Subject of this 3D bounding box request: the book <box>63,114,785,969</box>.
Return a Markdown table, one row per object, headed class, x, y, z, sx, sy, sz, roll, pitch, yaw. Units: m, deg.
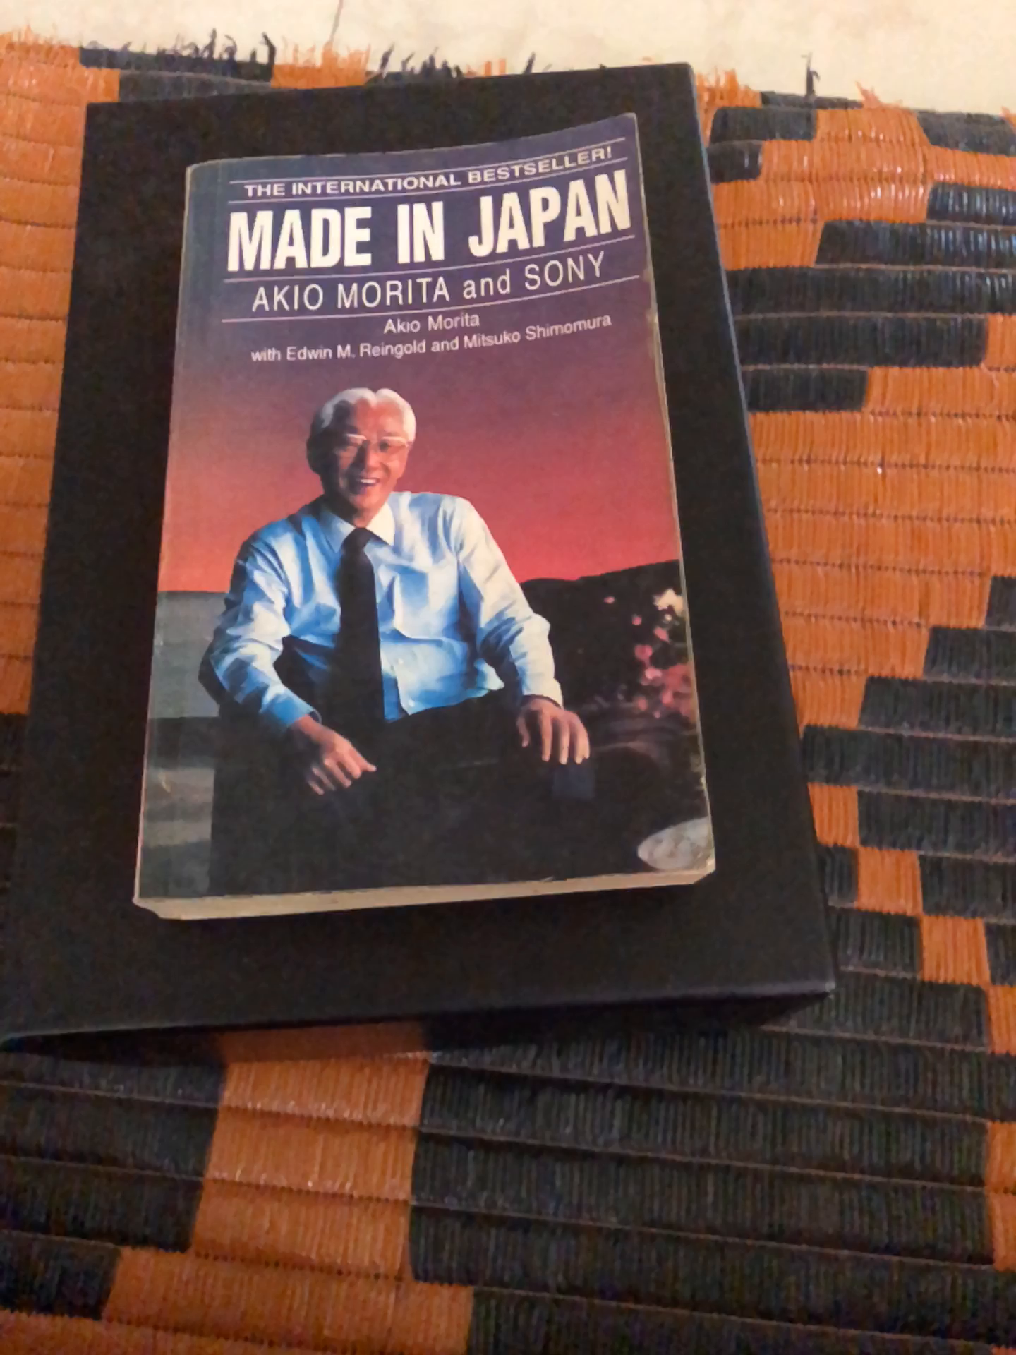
| class | x | y | z | sx | sy | sz | roll | pitch | yaw |
| --- | --- | --- | --- | --- | --- | --- | --- | --- | --- |
| book | -0.017 | -0.033 | 0.232 | 0.120 | 0.030 | 0.170 | -4 | 69 | 3 |
